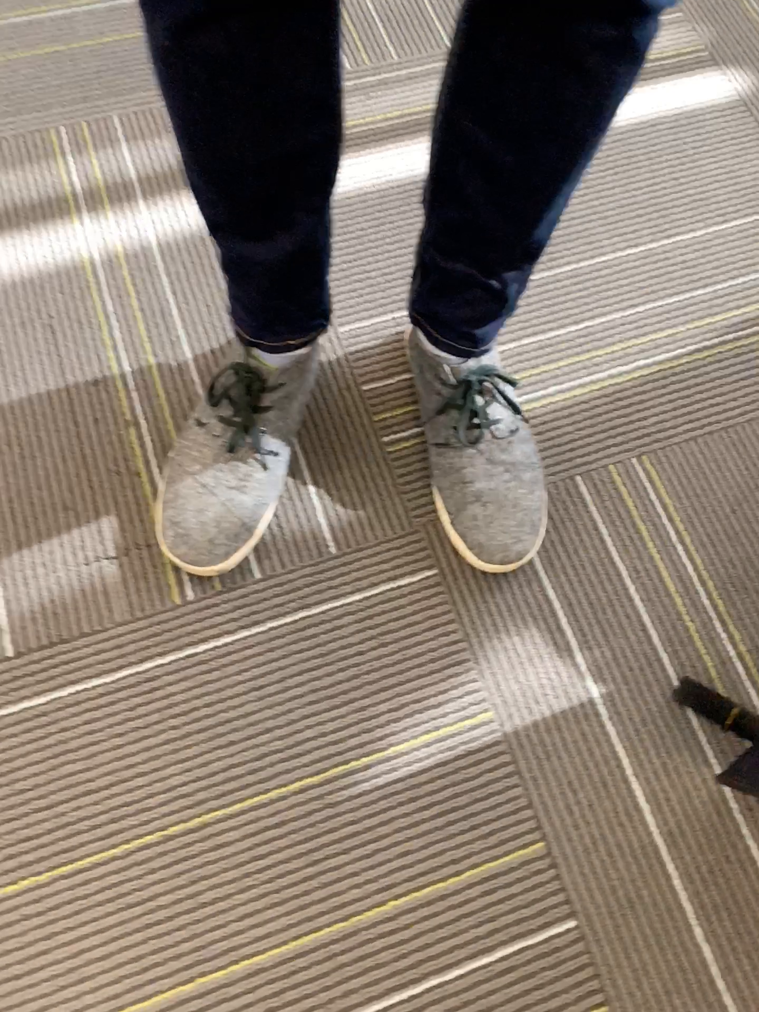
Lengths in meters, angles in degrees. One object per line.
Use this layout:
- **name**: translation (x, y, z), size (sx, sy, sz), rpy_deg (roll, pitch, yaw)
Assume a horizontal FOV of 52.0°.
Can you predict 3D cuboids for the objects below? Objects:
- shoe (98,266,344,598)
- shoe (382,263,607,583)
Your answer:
- **shoe**: translation (-0.142, -0.078, 0.769), size (0.134, 0.087, 0.299), rpy_deg (16, 66, 2)
- **shoe**: translation (0.105, -0.089, 0.791), size (0.134, 0.087, 0.301), rpy_deg (-11, 69, -8)
